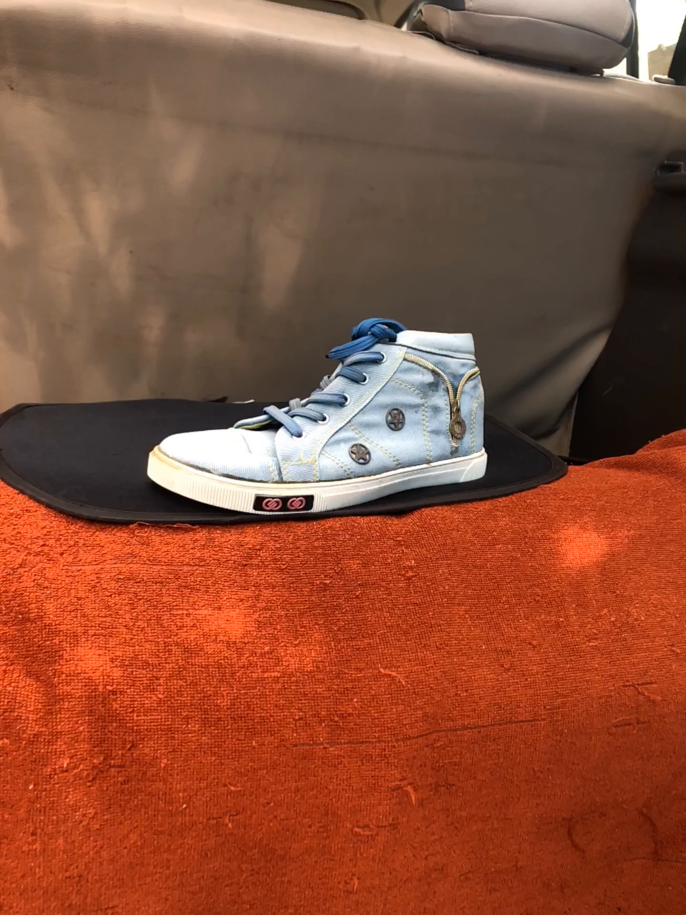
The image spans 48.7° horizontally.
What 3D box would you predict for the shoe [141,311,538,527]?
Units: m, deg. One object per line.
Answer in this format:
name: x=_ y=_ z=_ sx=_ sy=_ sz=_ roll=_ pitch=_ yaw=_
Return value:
shoe: x=0.001 y=-0.039 z=0.547 sx=0.261 sy=0.110 sz=0.110 roll=-6 pitch=20 yaw=-34
